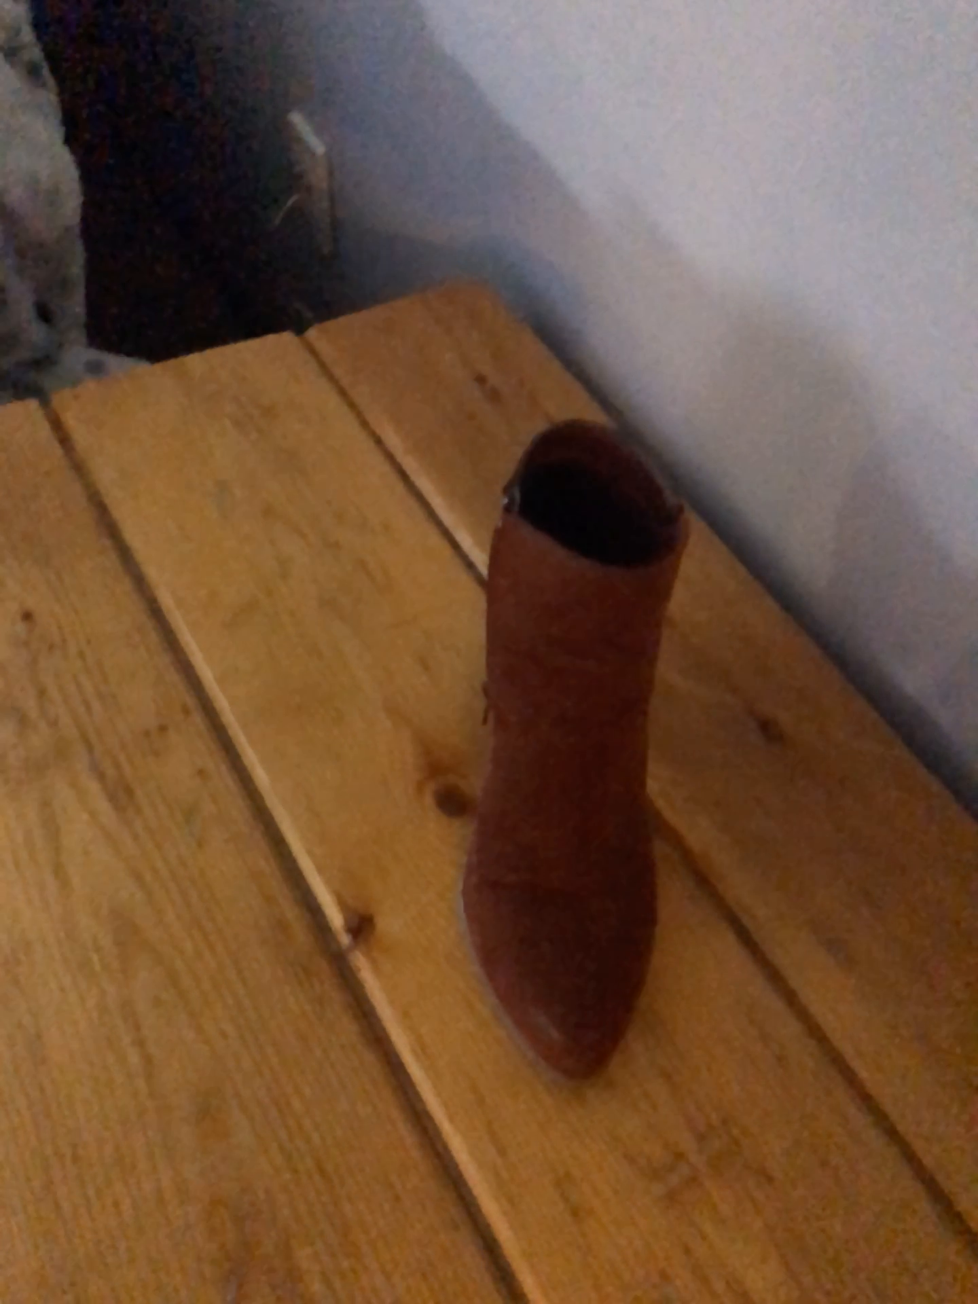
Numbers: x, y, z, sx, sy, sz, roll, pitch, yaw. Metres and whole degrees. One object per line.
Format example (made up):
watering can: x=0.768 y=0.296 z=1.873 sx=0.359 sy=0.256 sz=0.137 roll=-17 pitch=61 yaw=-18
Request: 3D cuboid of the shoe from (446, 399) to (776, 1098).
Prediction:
shoe: x=0.035 y=0.037 z=0.456 sx=0.090 sy=0.150 sz=0.250 roll=3 pitch=53 yaw=-5
